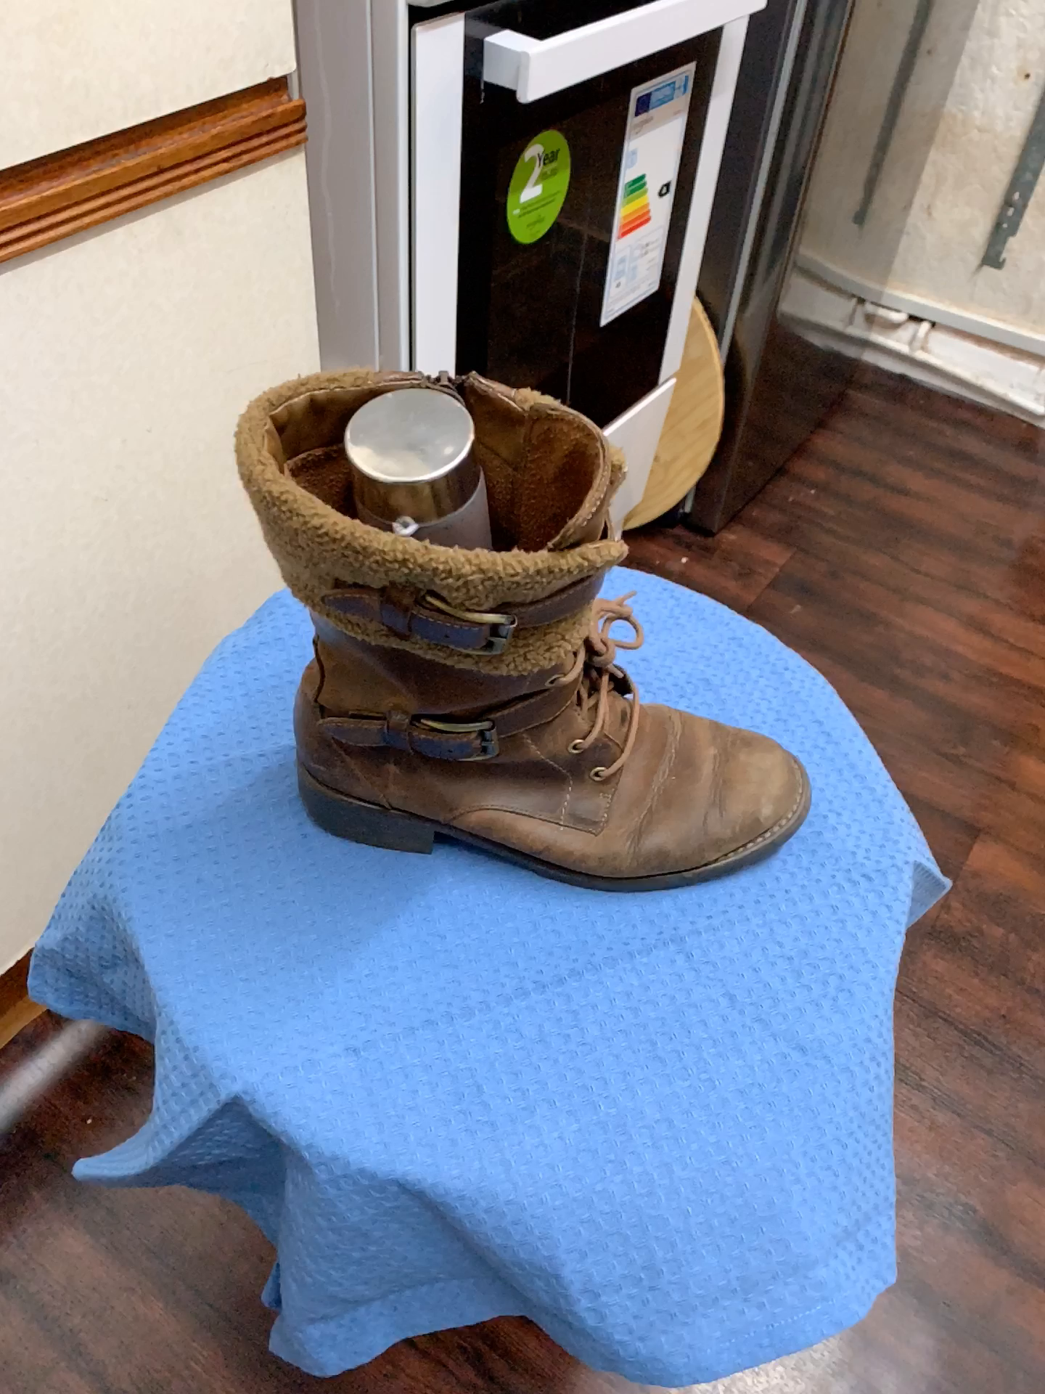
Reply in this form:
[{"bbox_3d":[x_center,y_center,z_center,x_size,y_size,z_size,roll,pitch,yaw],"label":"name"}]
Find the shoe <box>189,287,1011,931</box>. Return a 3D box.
[{"bbox_3d":[0.024,-0.021,0.451,0.250,0.228,0.121,8,54,2],"label":"shoe"}]
